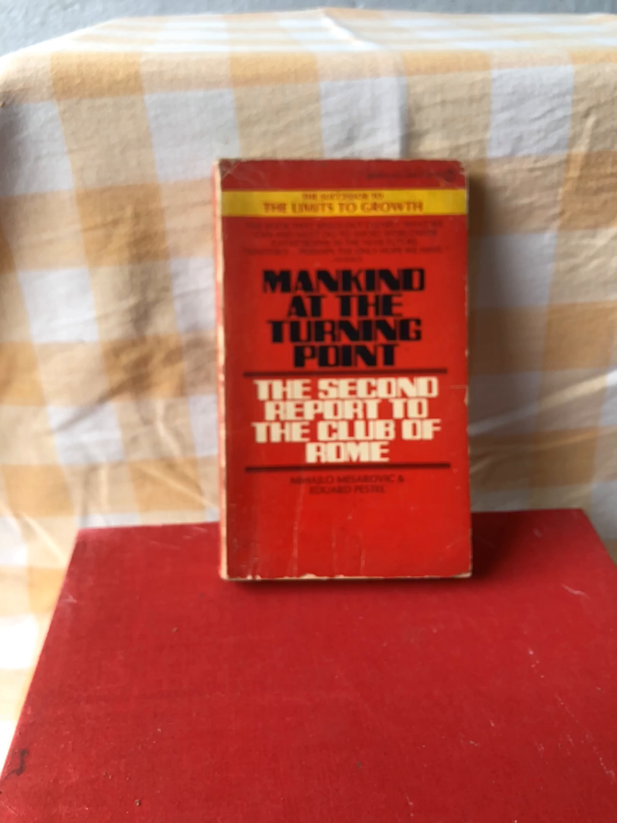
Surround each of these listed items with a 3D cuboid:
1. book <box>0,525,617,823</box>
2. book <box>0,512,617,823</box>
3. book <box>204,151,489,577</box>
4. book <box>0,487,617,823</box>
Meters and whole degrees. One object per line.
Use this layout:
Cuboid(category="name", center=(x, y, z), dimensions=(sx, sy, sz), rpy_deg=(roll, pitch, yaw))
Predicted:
Cuboid(category="book", center=(0.012, 0.139, 0.309), dimensions=(0.240, 0.040, 0.191), rpy_deg=(-4, 33, 0))
Cuboid(category="book", center=(0.008, 0.135, 0.322), dimensions=(0.270, 0.040, 0.191), rpy_deg=(-4, 33, 0))
Cuboid(category="book", center=(0.016, -0.019, 0.301), dimensions=(0.110, 0.170, 0.040), rpy_deg=(-1, 8, -2))
Cuboid(category="book", center=(0.012, 0.122, 0.324), dimensions=(0.280, 0.040, 0.191), rpy_deg=(-4, 33, 0))
